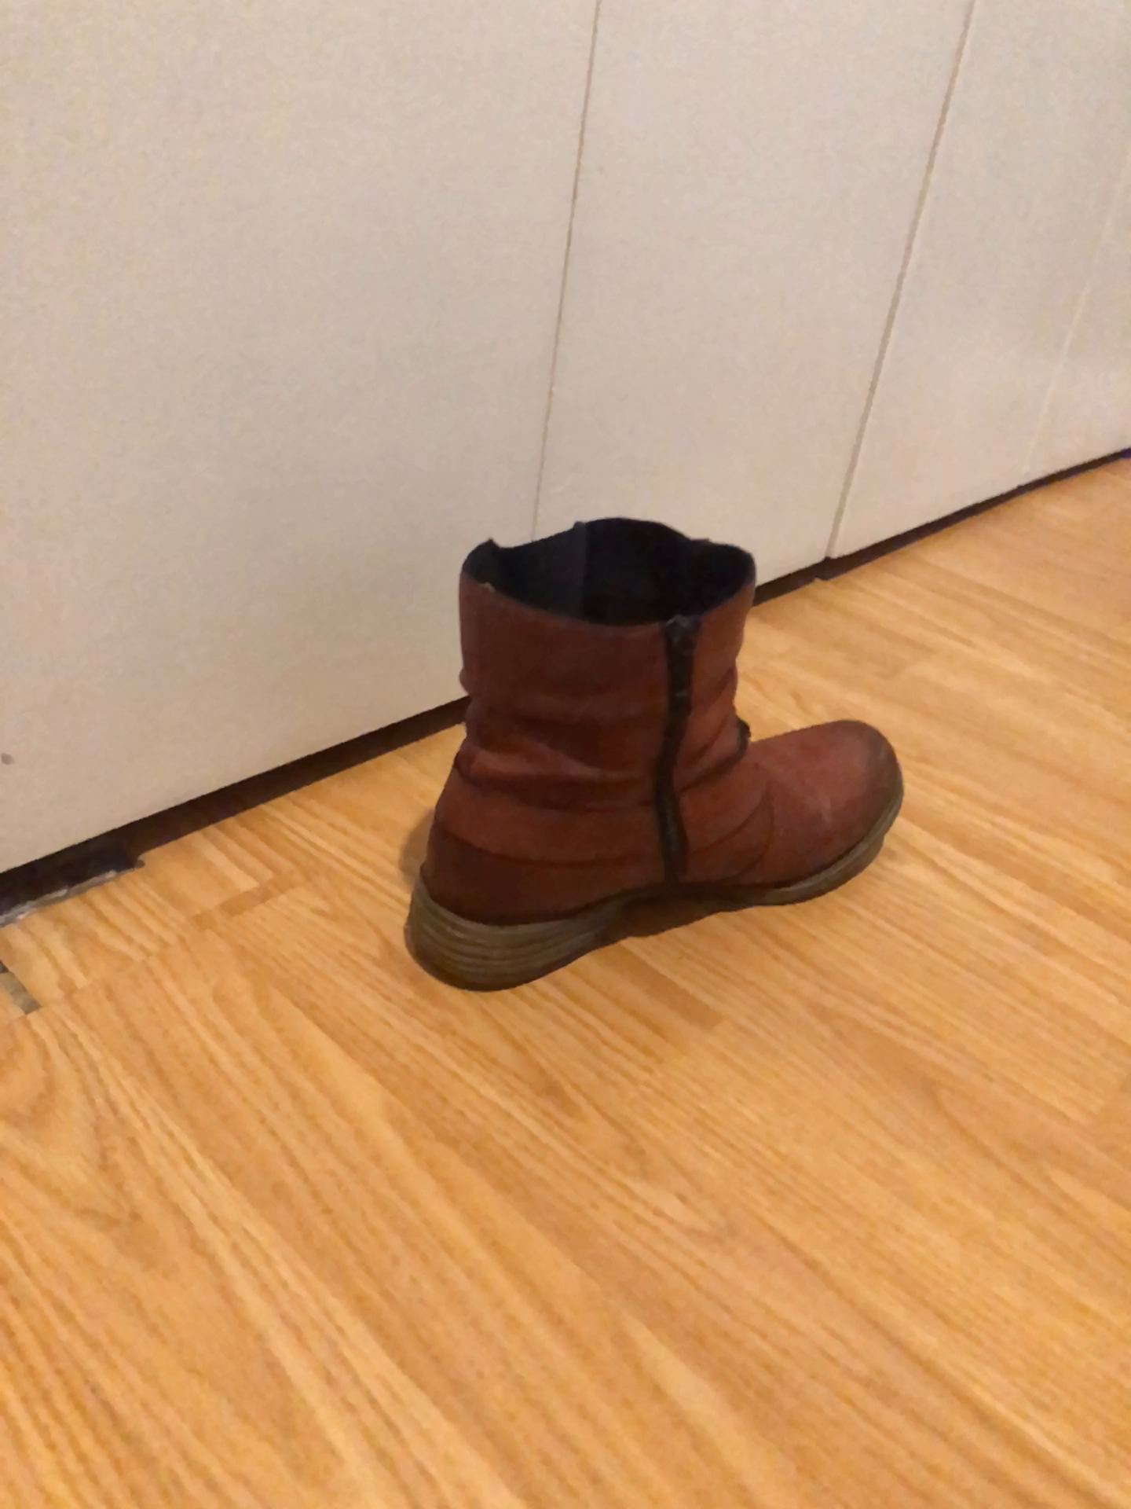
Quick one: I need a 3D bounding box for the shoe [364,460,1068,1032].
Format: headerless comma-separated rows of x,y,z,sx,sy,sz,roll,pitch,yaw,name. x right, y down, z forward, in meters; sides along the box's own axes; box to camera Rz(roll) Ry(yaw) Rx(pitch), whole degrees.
0.063,-0.018,0.536,0.270,0.169,0.100,-13,37,-32,shoe
